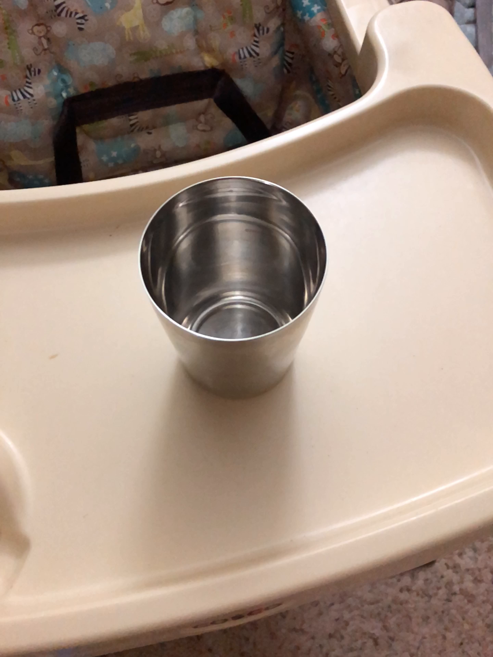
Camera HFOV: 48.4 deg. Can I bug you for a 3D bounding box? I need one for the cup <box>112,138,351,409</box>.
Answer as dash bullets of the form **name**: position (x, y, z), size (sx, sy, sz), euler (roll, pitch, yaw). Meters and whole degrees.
- **cup**: position (-0.007, -0.018, 0.243), size (0.073, 0.091, 0.072), euler (0, 69, 0)
